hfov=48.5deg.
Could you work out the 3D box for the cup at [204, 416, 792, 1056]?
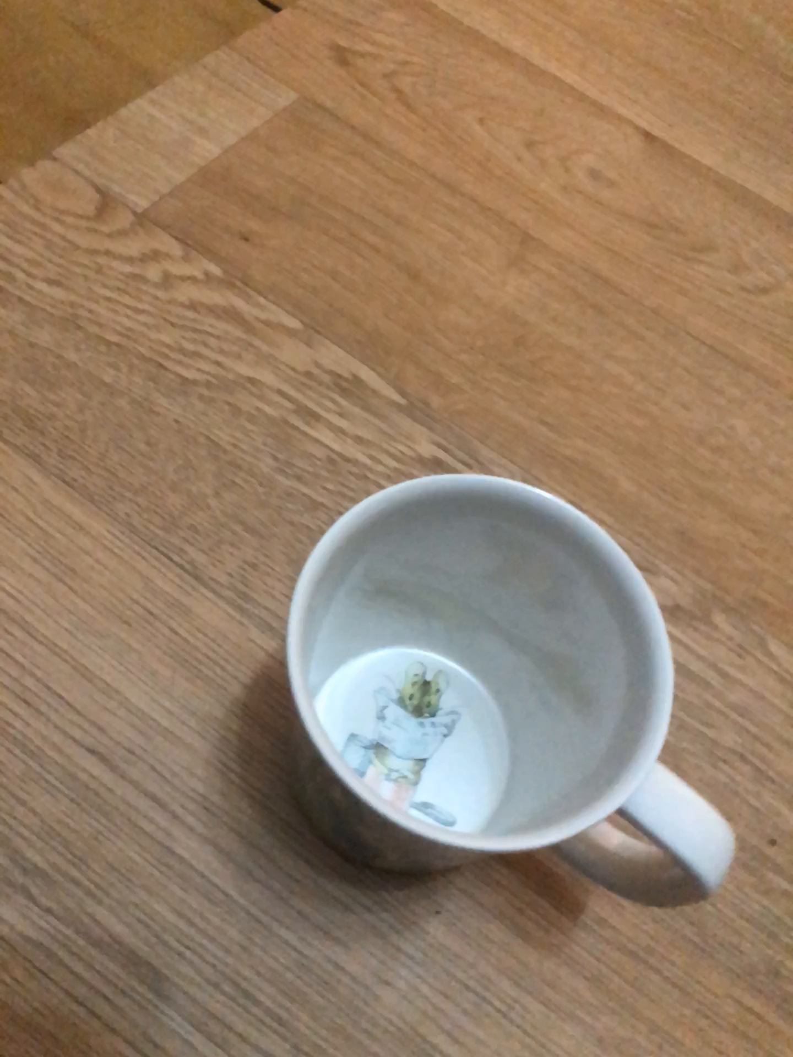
[{"bbox_3d":[0.025,0.052,0.204,0.110,0.080,0.080,38,61,10],"label":"cup"}]
